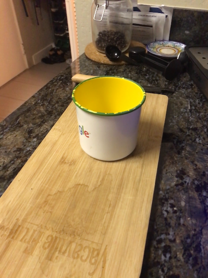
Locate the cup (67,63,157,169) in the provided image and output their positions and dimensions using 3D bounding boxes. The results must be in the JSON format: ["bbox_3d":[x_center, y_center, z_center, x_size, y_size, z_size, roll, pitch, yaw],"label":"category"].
[{"bbox_3d":[0.003,-0.040,0.340,0.100,0.089,0.131,-7,42,-7],"label":"cup"}]
